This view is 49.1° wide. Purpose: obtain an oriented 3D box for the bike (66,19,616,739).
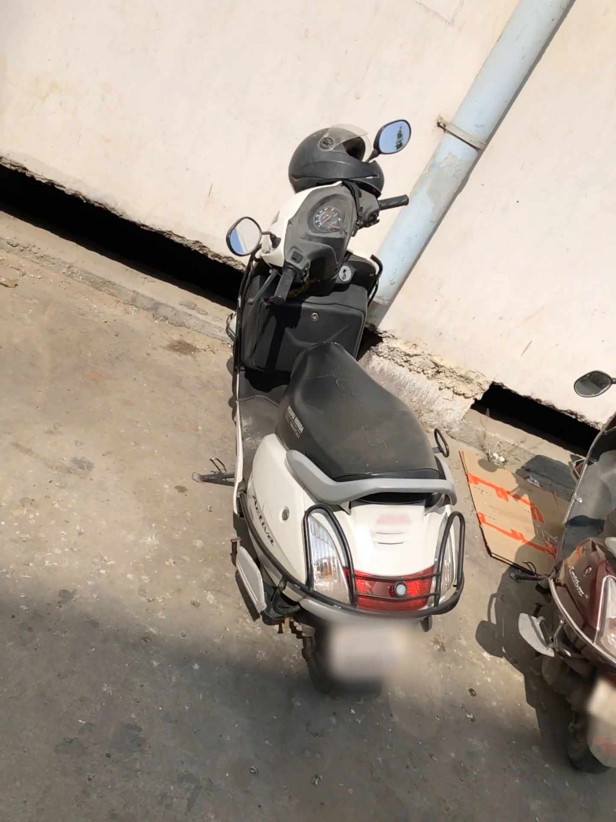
[{"bbox_3d":[-0.095,-0.091,1.836,0.625,1.123,1.305,10,37,-34],"label":"bike"}]
